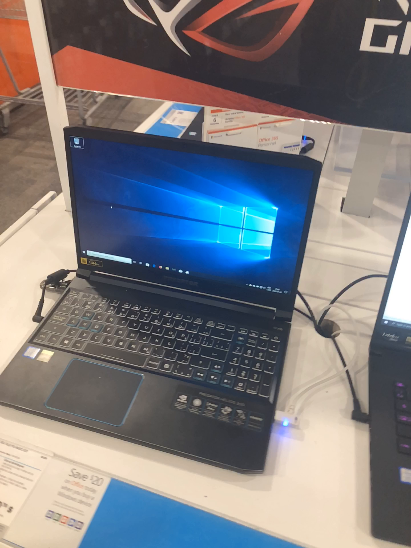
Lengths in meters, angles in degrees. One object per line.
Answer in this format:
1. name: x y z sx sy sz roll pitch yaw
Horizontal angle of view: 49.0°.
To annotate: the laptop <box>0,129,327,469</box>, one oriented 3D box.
1. laptop: -0.063 0.008 0.555 0.348 0.230 0.274 11 43 13
